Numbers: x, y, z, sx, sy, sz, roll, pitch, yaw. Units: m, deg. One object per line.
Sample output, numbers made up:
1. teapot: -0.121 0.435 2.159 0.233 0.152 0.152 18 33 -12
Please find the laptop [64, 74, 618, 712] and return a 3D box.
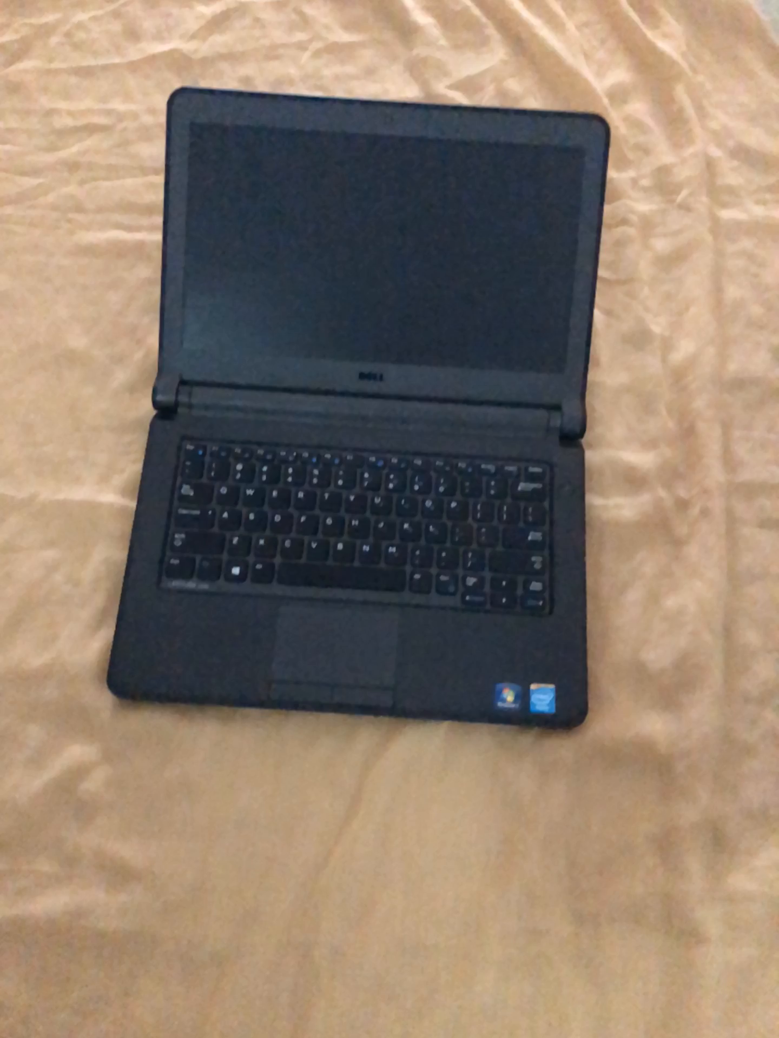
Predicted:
1. laptop: -0.015 -0.093 0.584 0.308 0.092 0.410 4 72 0
